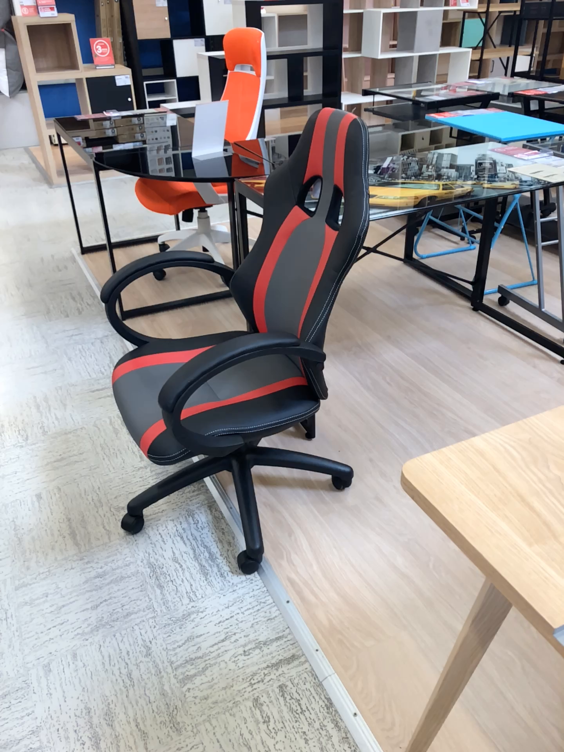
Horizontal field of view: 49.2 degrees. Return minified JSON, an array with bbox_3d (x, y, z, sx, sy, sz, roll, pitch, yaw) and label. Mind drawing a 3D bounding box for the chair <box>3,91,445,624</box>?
[{"bbox_3d":[-0.154,-0.111,1.470,0.692,0.925,0.692,-15,33,-20],"label":"chair"}]
